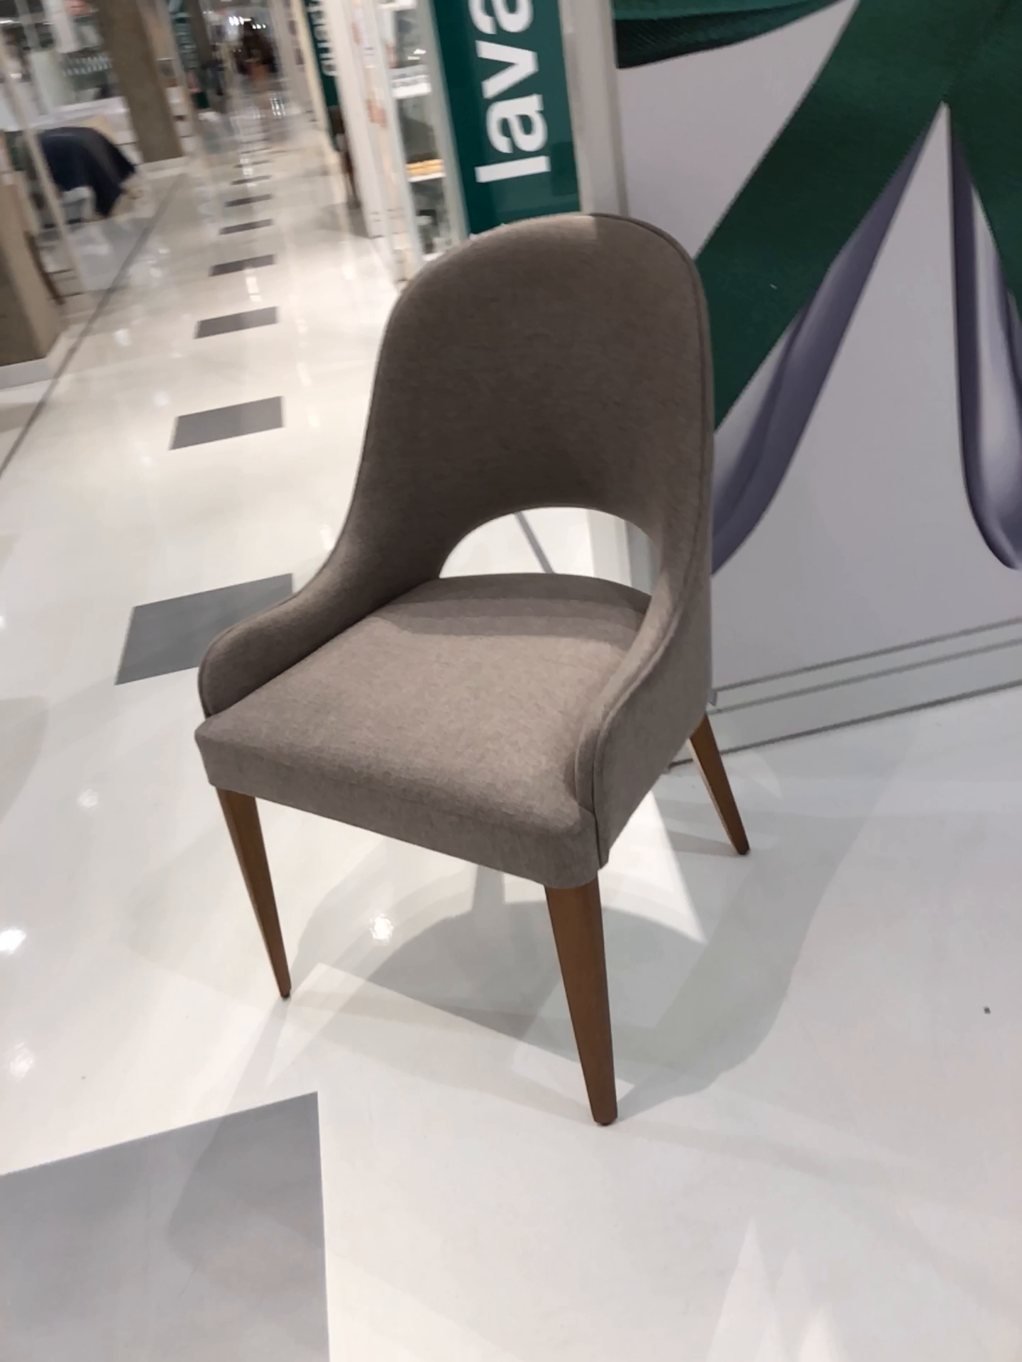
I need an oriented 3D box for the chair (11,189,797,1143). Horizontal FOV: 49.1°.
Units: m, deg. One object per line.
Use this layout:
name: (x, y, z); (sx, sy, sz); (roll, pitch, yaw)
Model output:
chair: (-0.033, -0.058, 1.405); (0.571, 0.893, 0.613); (11, 36, 31)
